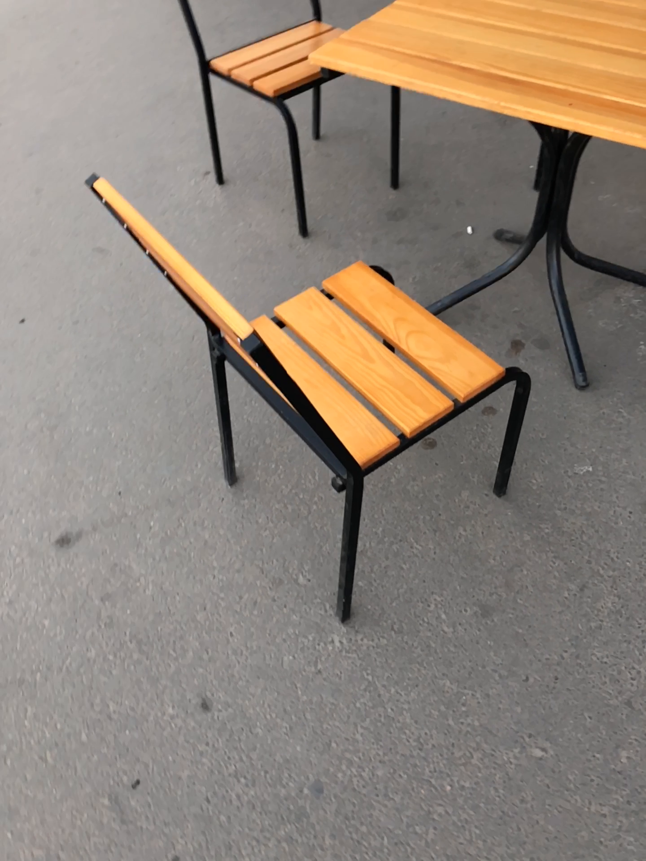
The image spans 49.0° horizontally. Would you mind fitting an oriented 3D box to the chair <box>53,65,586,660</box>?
[{"bbox_3d":[0.007,-0.100,1.281,0.561,0.767,0.501,-31,53,-20],"label":"chair"}]
